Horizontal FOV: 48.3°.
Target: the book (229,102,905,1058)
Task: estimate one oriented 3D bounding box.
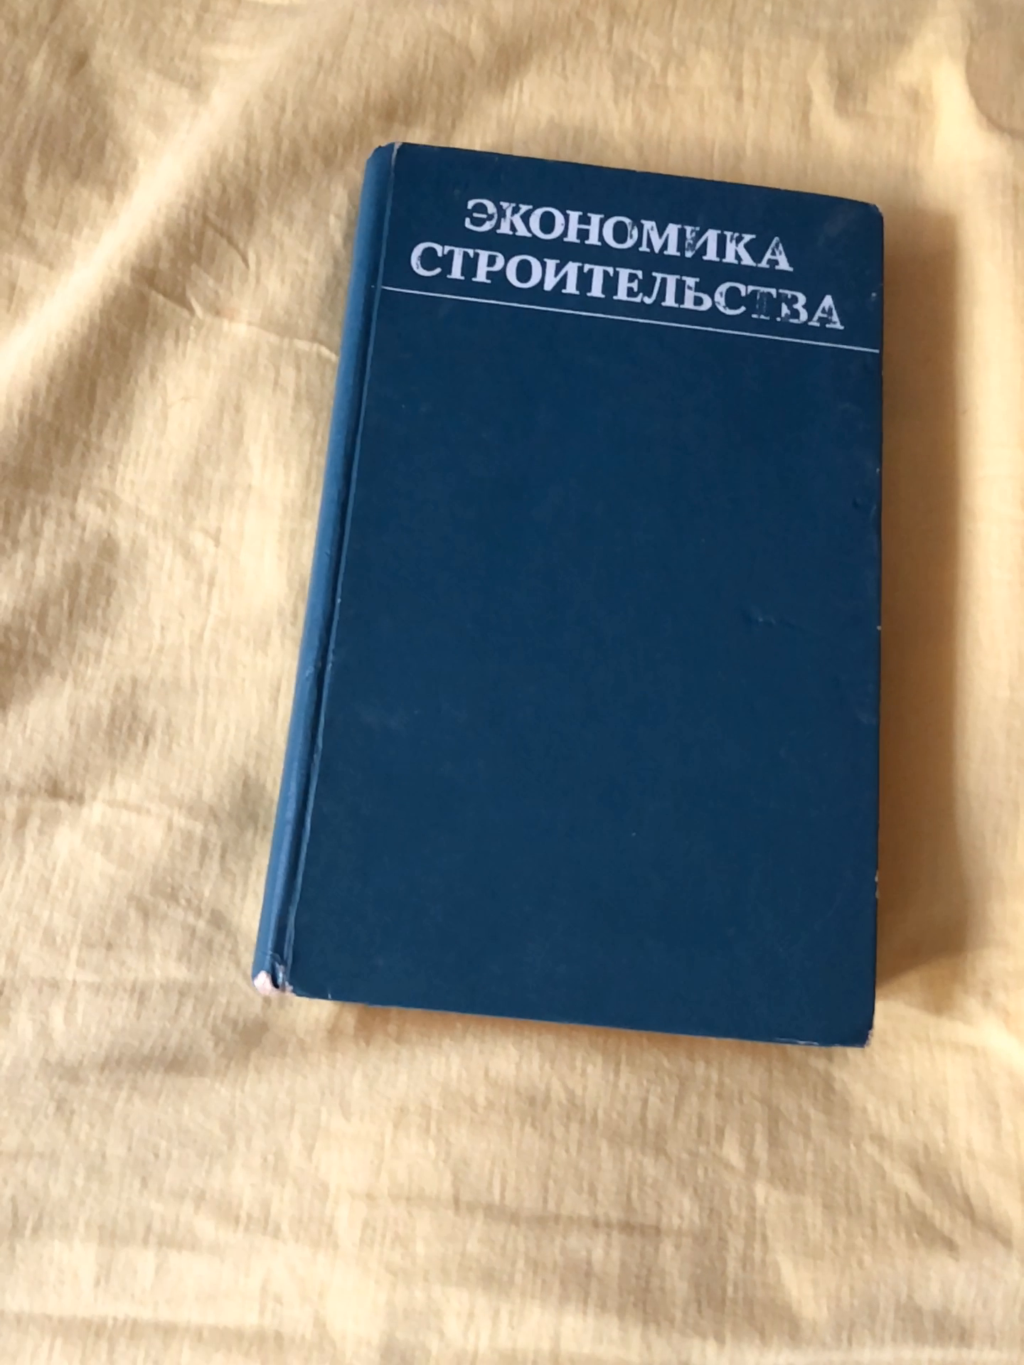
[{"bbox_3d":[0.019,-0.027,0.257,0.130,0.030,0.200,6,77,-3],"label":"book"}]
